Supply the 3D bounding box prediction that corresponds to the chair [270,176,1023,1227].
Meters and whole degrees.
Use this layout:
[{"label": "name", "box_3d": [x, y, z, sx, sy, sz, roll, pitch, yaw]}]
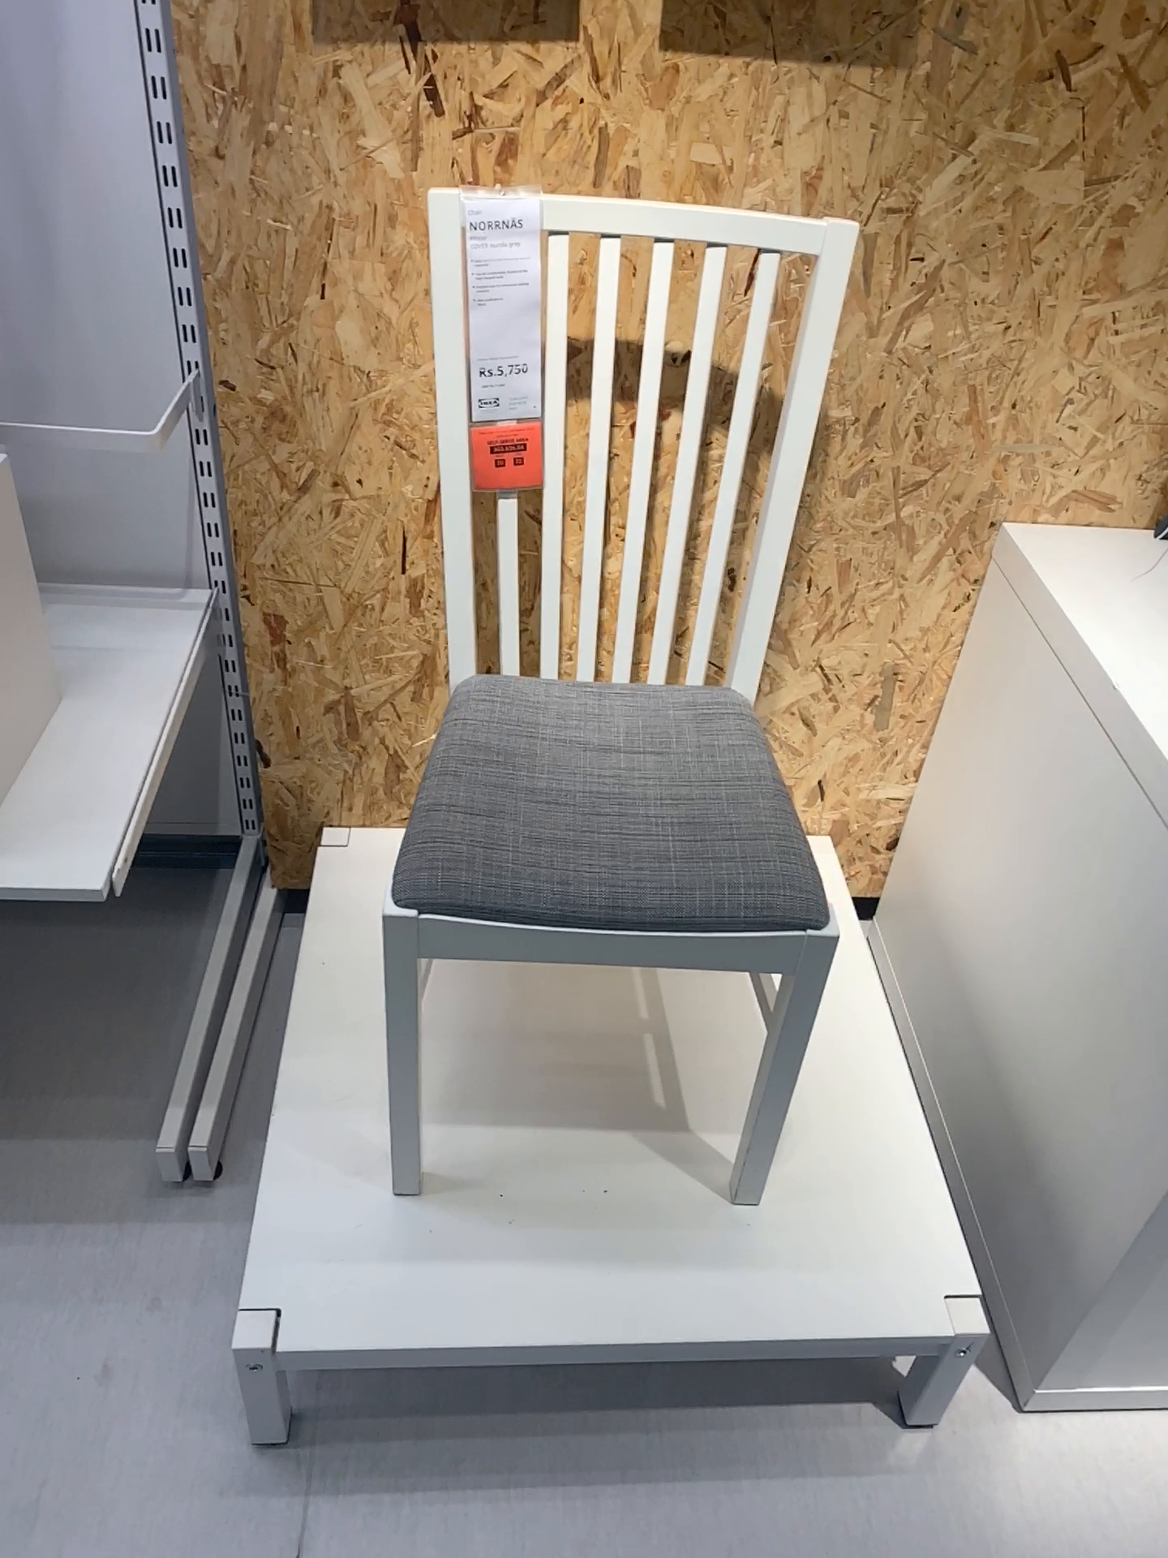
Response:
[{"label": "chair", "box_3d": [0.004, -0.054, 1.246, 0.470, 0.896, 0.593, 3, 38, -3]}]
